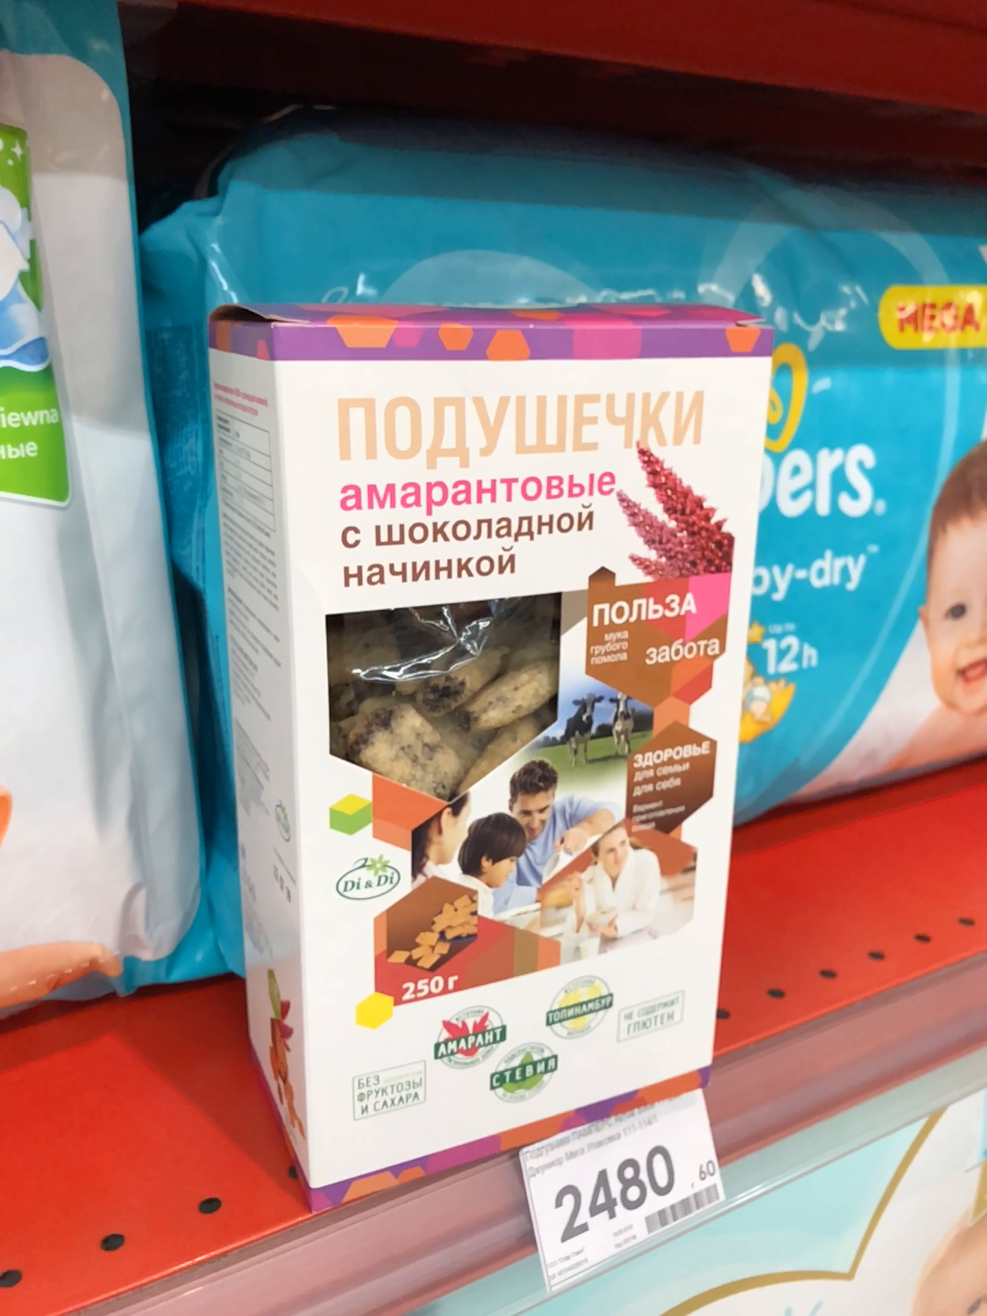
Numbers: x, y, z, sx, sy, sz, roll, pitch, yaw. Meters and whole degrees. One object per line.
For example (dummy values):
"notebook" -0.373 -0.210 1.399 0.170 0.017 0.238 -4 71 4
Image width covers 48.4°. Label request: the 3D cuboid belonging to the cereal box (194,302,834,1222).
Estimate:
"cereal box" 0.002 0.019 0.301 0.140 0.219 0.070 -7 19 -23
